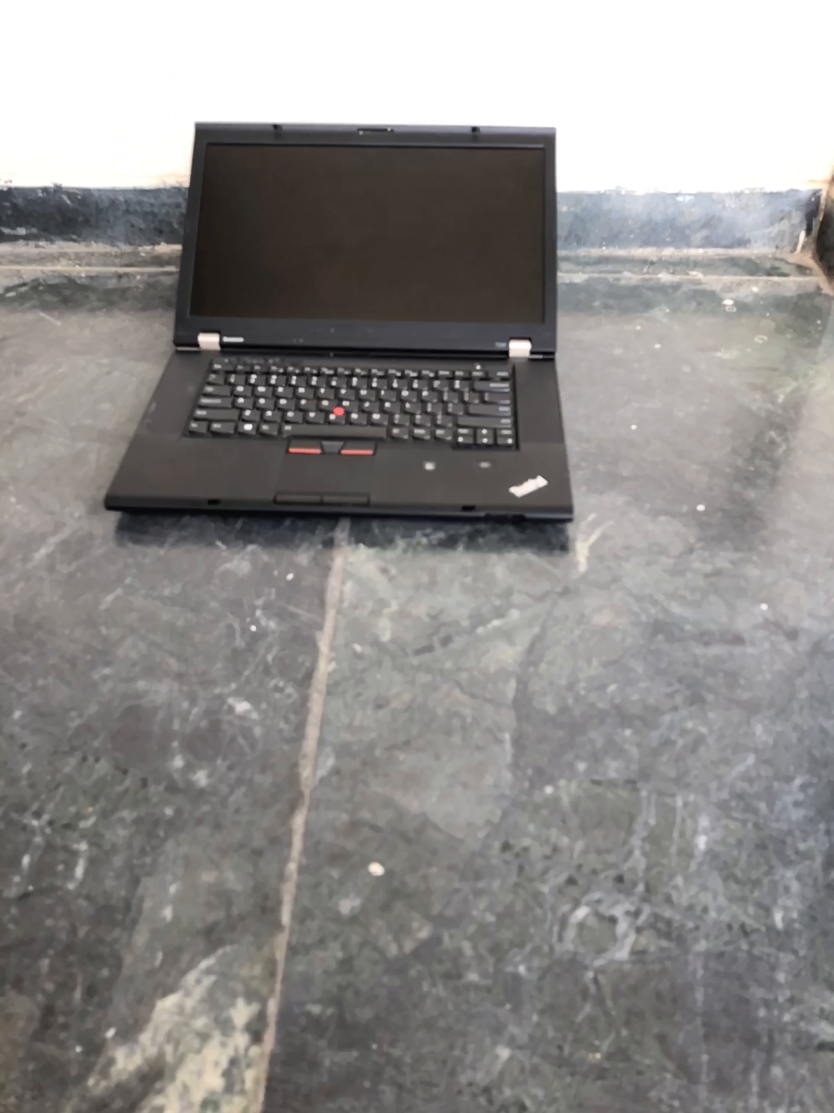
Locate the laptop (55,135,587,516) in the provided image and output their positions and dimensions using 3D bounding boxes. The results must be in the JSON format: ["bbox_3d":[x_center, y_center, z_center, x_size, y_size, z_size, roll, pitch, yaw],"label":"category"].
[{"bbox_3d":[-0.047,-0.201,0.704,0.311,0.115,0.377,1,43,2],"label":"laptop"}]
